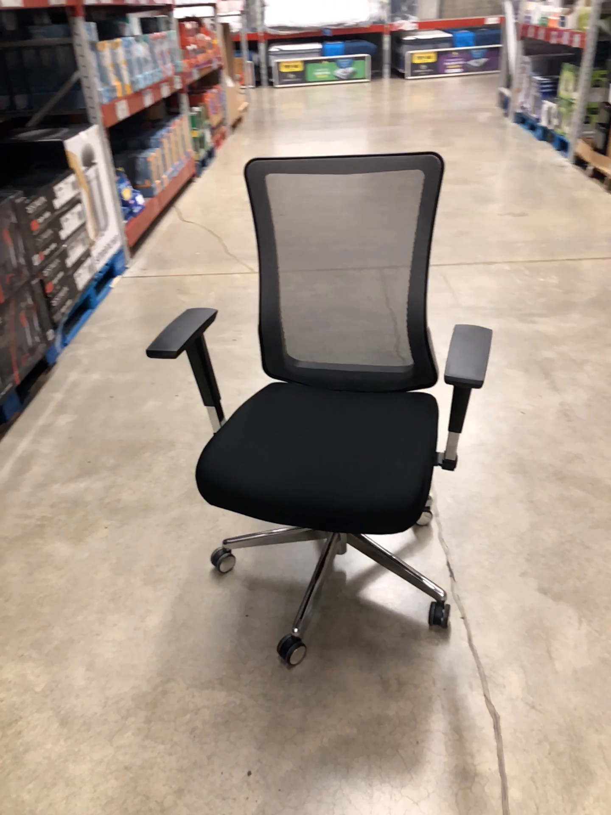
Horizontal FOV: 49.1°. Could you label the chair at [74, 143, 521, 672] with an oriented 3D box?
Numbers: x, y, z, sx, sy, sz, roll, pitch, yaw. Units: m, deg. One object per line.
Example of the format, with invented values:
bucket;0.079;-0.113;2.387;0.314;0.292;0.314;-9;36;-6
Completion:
chair;0.040;-0.023;1.575;0.690;0.987;0.712;0;31;7
